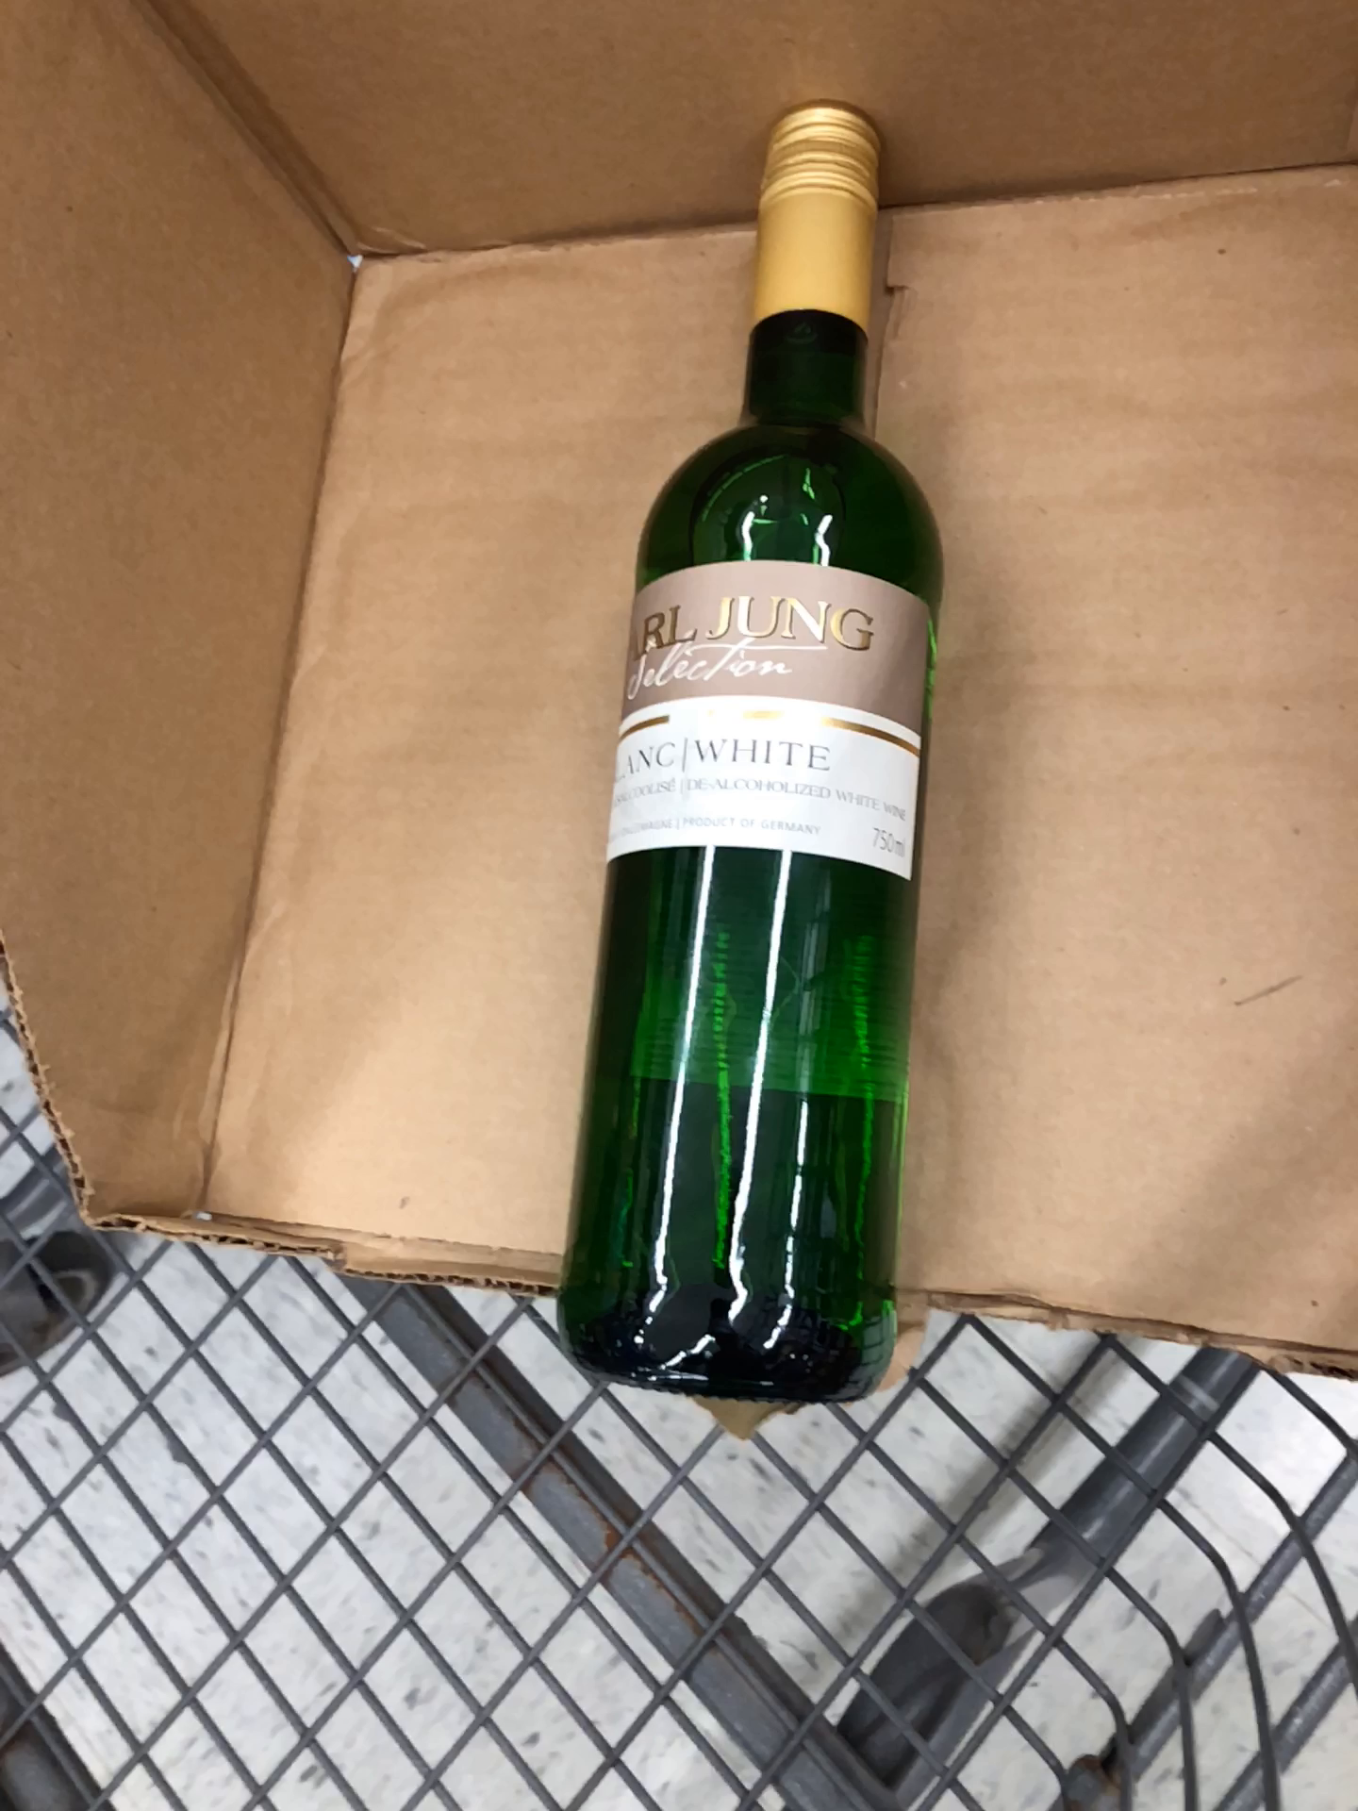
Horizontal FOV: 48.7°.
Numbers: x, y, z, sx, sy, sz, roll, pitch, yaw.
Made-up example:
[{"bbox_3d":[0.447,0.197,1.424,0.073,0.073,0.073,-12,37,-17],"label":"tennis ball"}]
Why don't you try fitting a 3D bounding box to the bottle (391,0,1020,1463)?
[{"bbox_3d":[0.017,-0.061,0.338,0.080,0.100,0.331,0,79,26],"label":"bottle"}]
